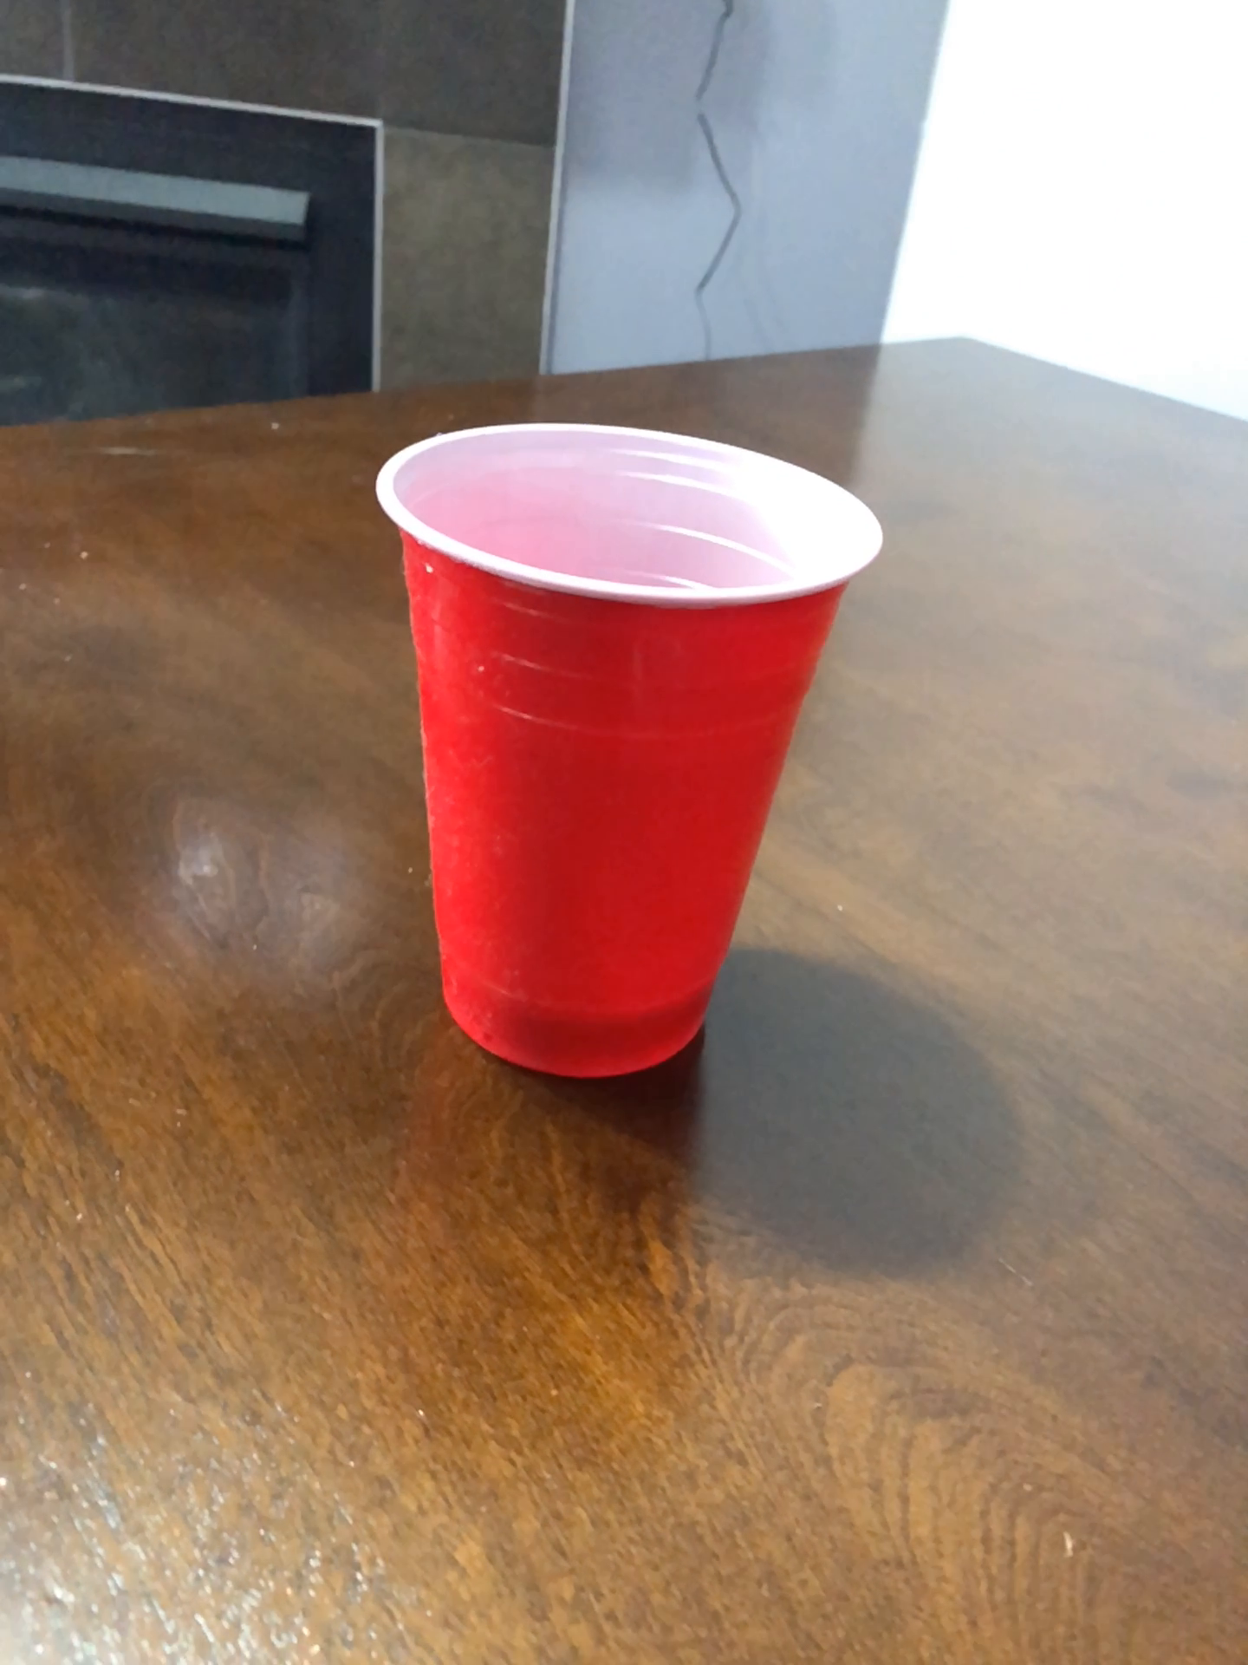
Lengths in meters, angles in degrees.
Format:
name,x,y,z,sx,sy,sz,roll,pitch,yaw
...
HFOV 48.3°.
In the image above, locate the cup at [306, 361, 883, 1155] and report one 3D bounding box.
name,x,y,z,sx,sy,sz,roll,pitch,yaw
cup,-0.005,-0.019,0.283,0.090,0.119,0.090,5,30,-3
